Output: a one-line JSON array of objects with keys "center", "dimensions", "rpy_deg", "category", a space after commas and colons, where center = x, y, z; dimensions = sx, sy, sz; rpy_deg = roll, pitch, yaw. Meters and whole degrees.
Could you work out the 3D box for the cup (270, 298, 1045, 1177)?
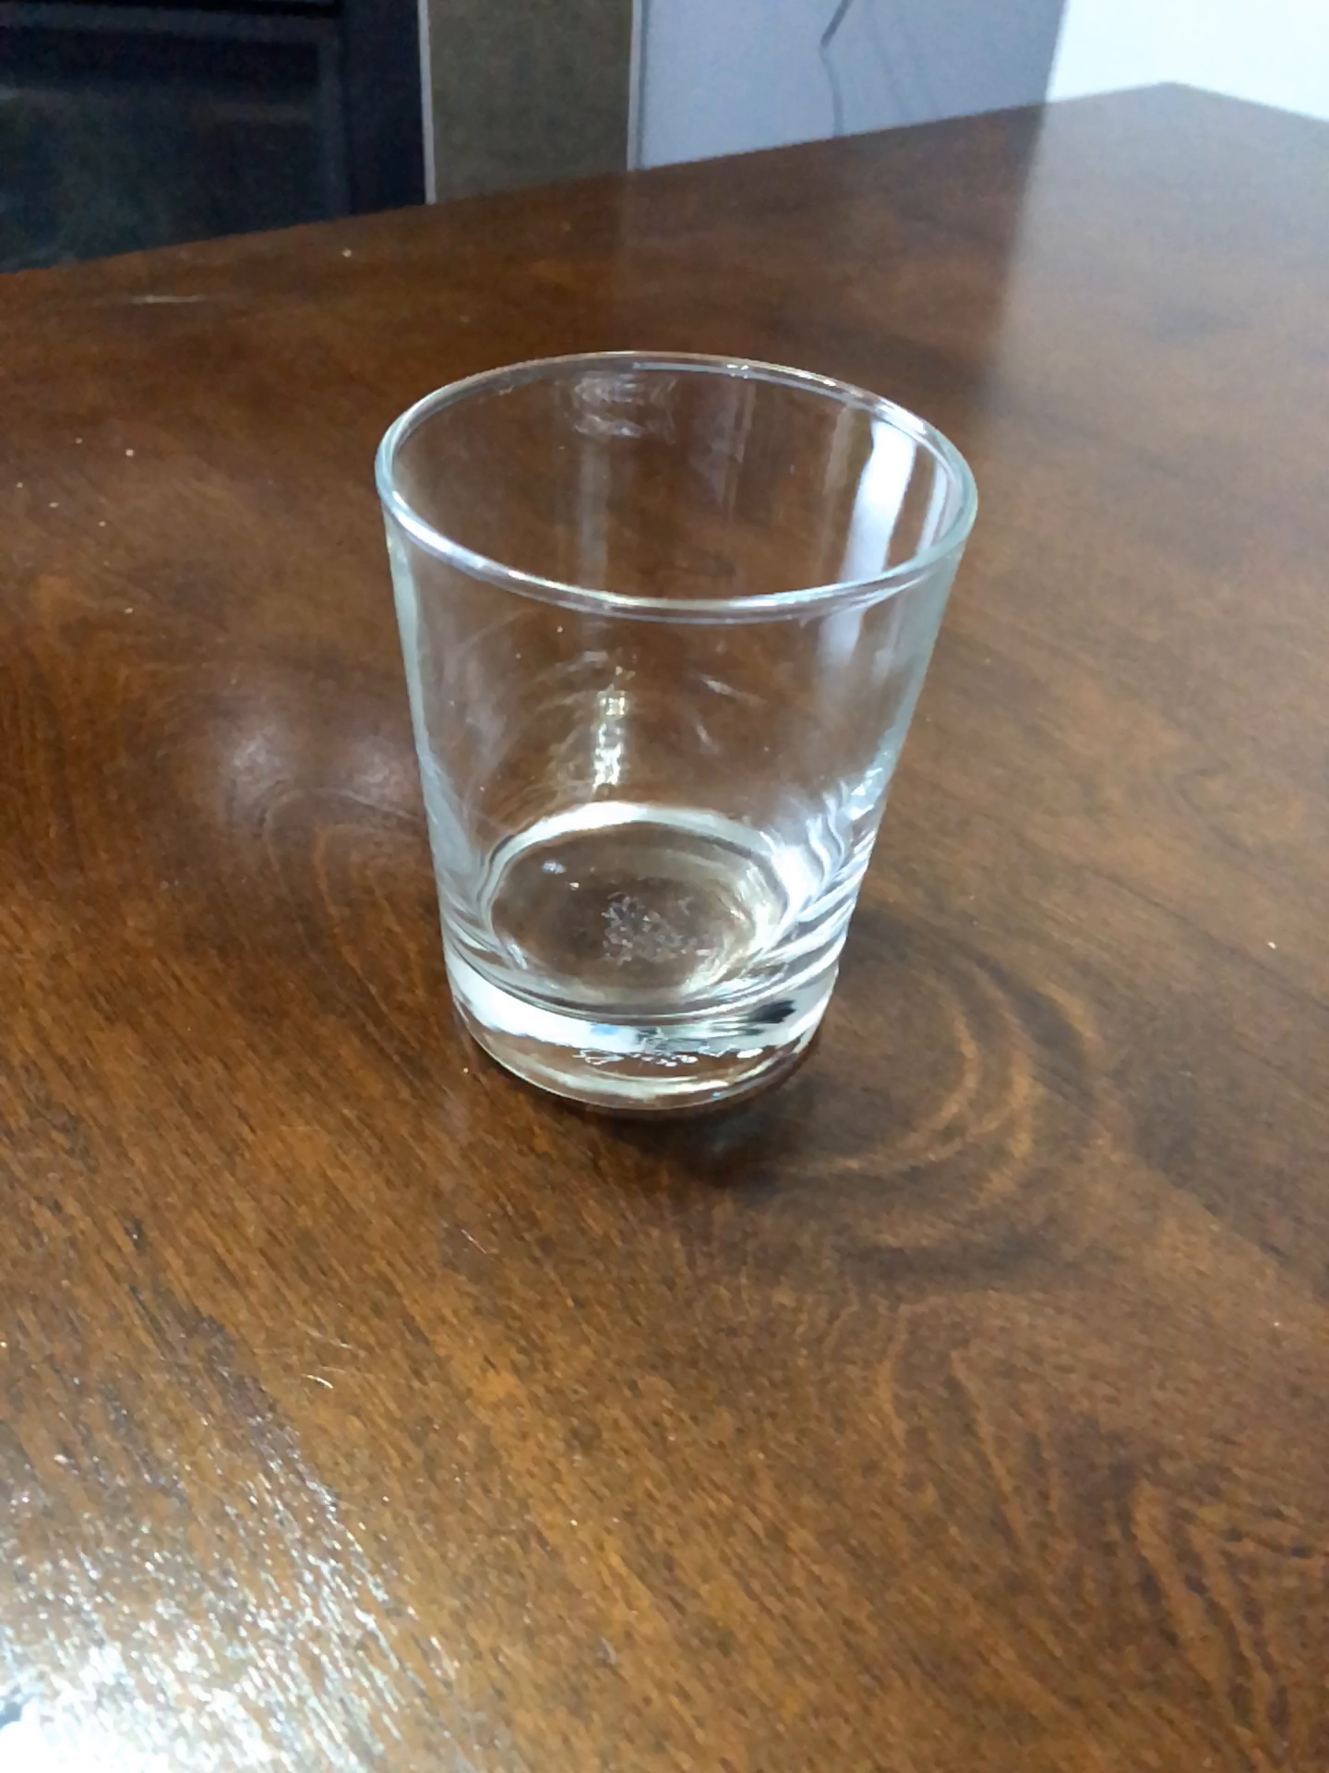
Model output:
[{"center": [0.003, -0.027, 0.233], "dimensions": [0.090, 0.090, 0.090], "rpy_deg": [3, 39, -2], "category": "cup"}]
